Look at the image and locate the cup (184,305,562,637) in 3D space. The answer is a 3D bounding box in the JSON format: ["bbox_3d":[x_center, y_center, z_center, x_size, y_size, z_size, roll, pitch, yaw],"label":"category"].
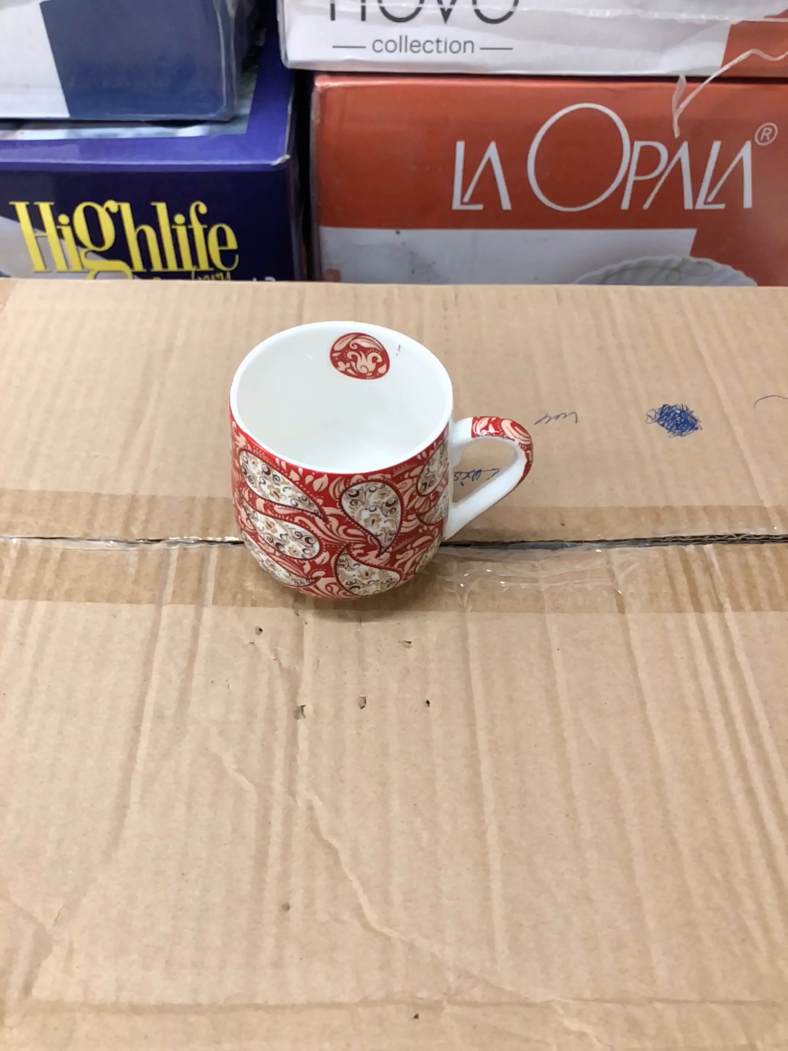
[{"bbox_3d":[-0.008,-0.017,0.254,0.090,0.060,0.070,-3,46,-5],"label":"cup"}]
